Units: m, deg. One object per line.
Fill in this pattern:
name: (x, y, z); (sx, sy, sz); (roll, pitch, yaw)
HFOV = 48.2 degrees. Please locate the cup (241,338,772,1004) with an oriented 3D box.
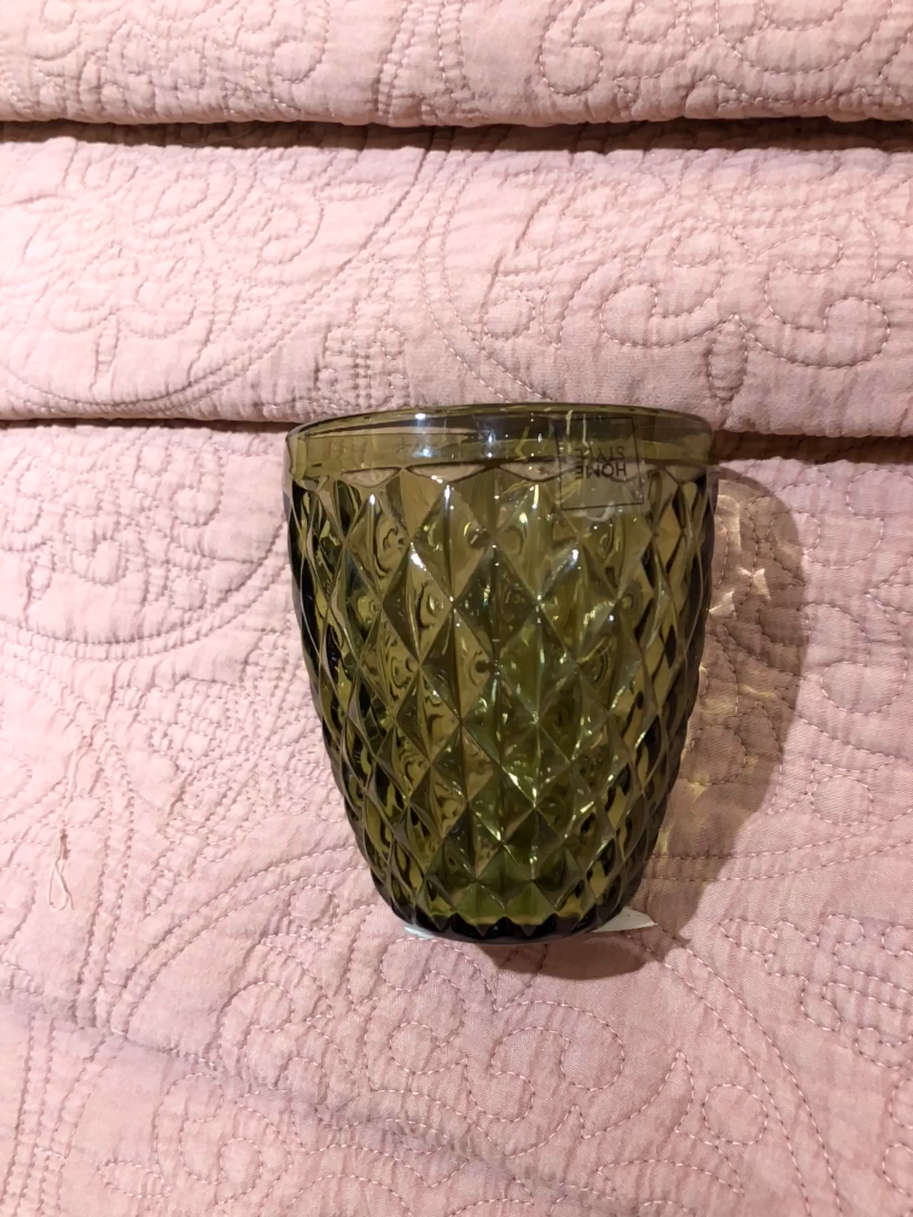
cup: (0.015, 0.007, 0.200); (0.080, 0.070, 0.100); (0, 96, 25)
